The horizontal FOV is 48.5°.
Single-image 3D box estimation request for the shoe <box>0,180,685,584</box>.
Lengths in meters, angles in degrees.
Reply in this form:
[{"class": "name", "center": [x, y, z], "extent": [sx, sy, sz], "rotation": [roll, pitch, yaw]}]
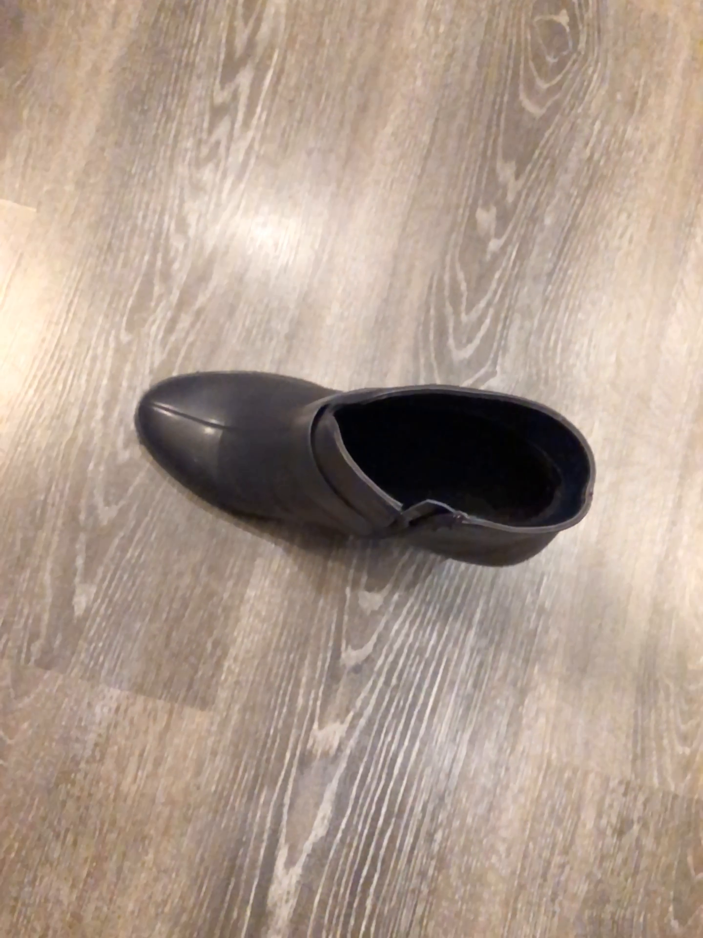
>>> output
[{"class": "shoe", "center": [-0.007, -0.019, 0.382], "extent": [0.240, 0.190, 0.090], "rotation": [15, 80, -3]}]
